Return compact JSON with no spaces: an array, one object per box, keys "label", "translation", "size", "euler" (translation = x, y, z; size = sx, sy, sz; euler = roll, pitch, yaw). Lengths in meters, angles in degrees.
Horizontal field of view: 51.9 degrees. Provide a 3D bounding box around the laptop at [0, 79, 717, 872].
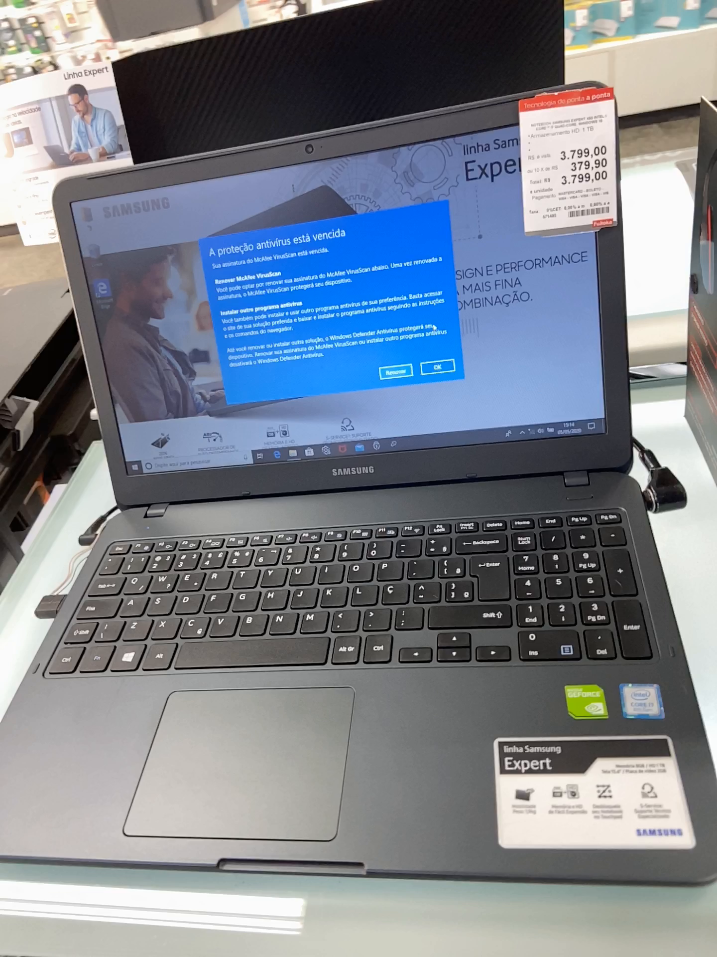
[{"label":"laptop","translation":[-0.035,-0.027,0.412],"size":[0.370,0.207,0.373],"euler":[-5,40,12]}]
